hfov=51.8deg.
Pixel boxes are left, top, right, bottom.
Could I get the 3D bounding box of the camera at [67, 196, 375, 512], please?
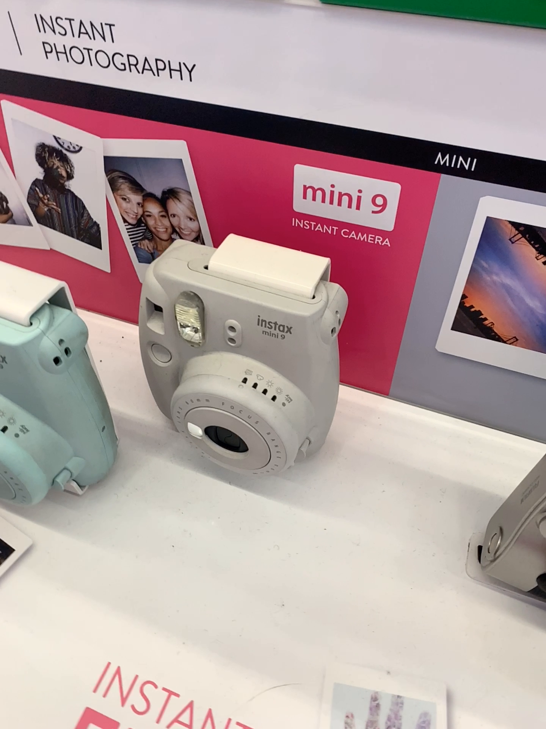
[{"bbox_3d":[-0.020,-0.005,0.285,0.110,0.109,0.081,17,50,15],"label":"camera"}]
